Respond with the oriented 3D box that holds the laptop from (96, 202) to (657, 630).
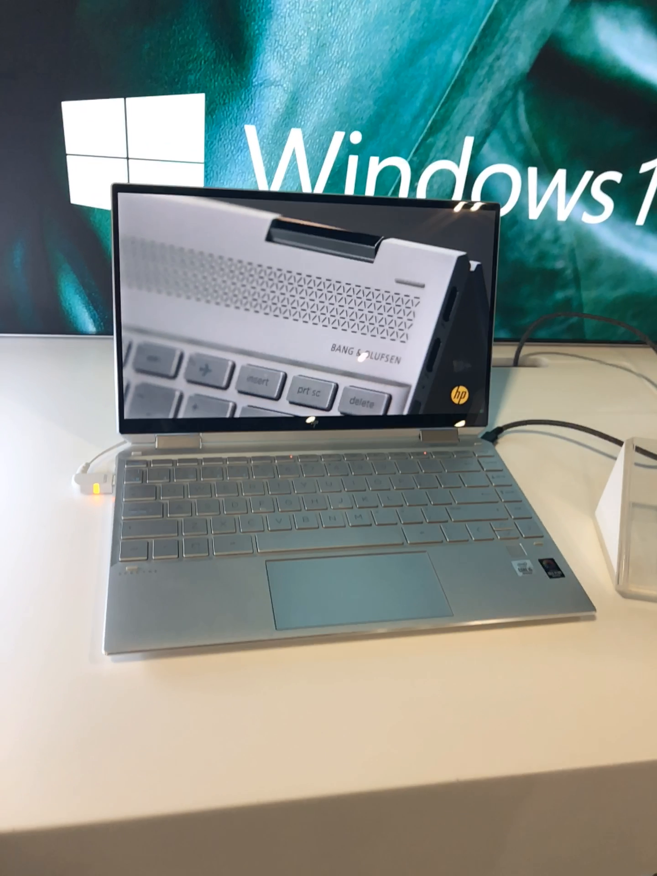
[{"bbox_3d":[0.012,-0.028,0.469,0.281,0.194,0.241,0,29,-13],"label":"laptop"}]
